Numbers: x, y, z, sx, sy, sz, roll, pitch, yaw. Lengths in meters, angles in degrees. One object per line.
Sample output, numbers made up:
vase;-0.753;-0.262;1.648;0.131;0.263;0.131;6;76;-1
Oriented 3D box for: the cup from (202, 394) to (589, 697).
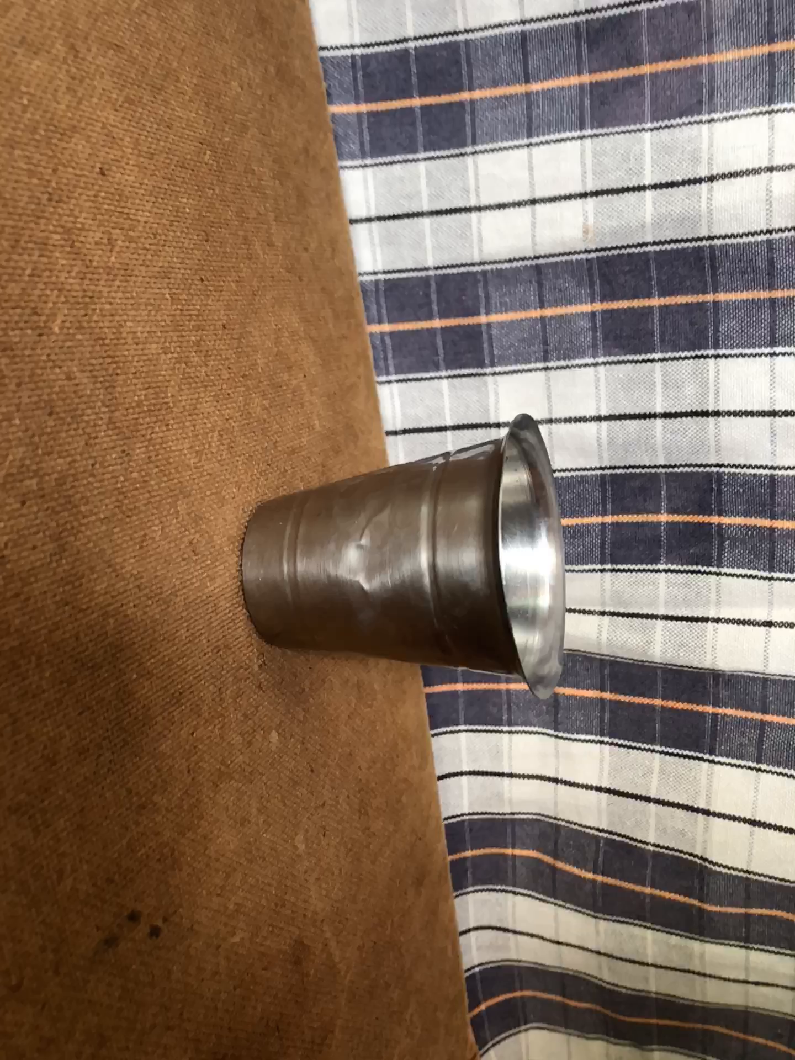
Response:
cup;0.004;0.011;0.238;0.070;0.080;0.060;36;52;-64
